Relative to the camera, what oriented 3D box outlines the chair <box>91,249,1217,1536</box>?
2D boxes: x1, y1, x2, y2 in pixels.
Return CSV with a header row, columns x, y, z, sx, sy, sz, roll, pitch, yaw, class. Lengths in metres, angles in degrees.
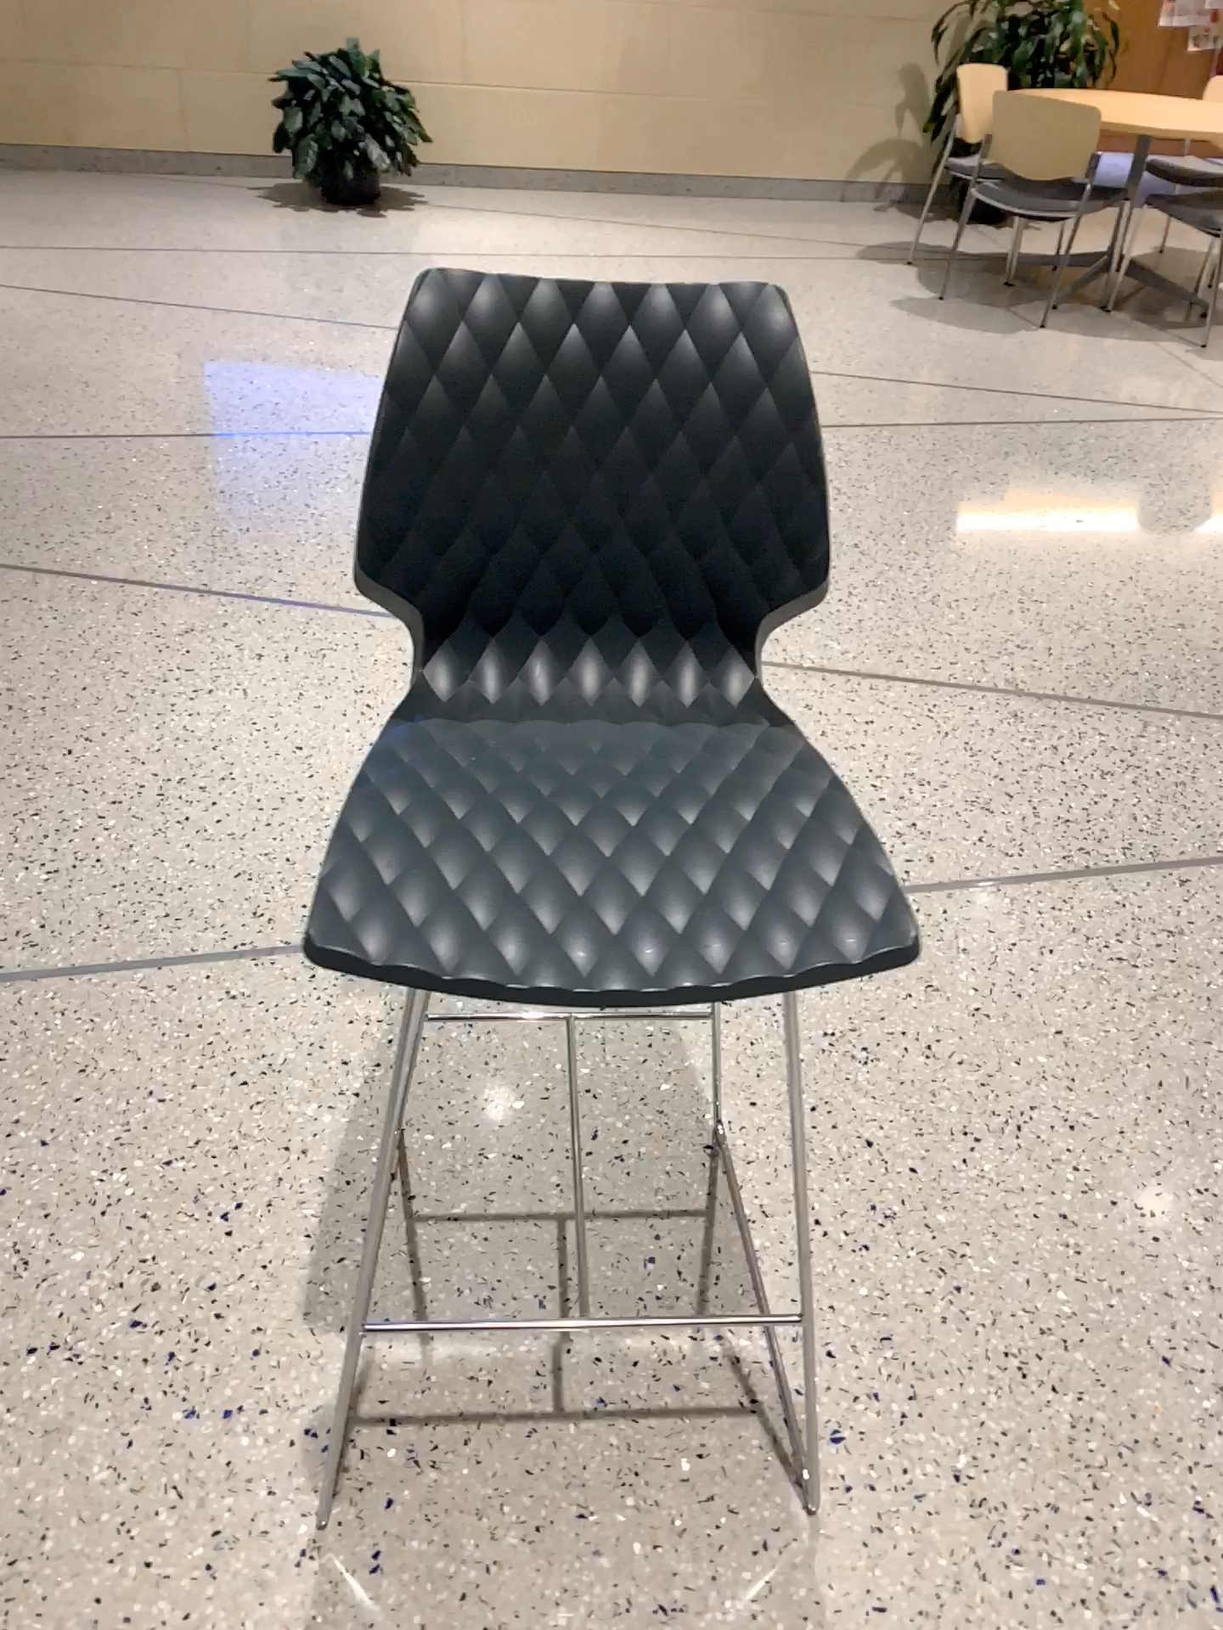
x,y,z,sx,sy,sz,roll,pitch,yaw,class
-0.010,0.114,1.096,0.534,0.995,0.536,2,36,-3,chair
